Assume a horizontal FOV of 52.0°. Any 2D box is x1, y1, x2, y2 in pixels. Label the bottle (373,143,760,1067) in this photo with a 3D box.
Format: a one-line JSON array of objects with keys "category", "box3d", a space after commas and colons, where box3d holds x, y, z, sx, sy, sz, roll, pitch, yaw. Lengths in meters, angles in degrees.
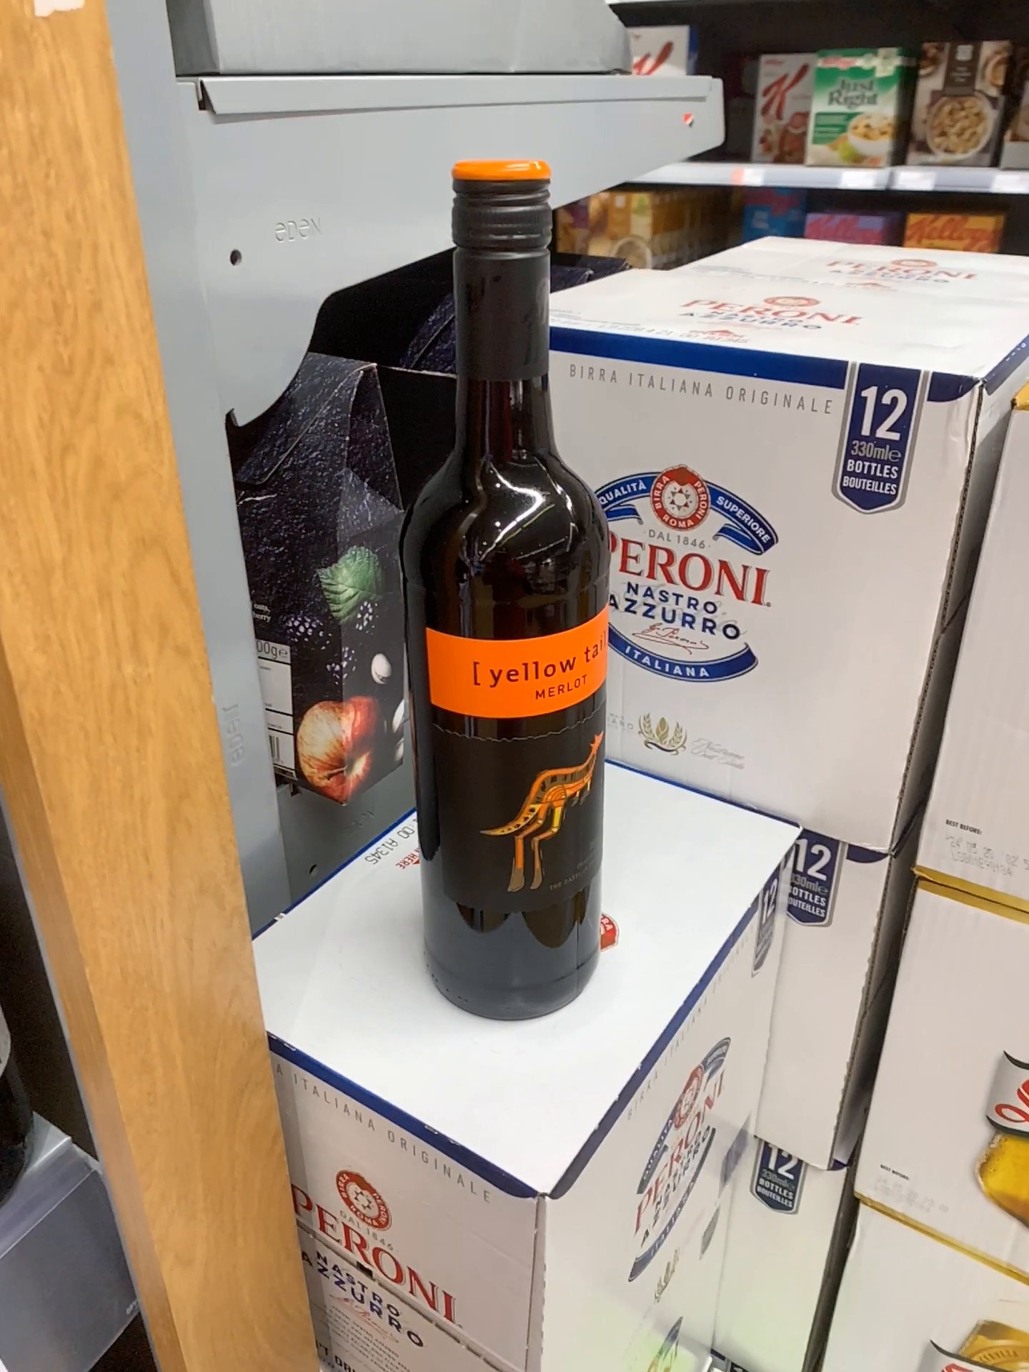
[{"category": "bottle", "box3d": [0.014, -0.018, 0.363, 0.078, 0.297, 0.077, 0, 28, 0]}]
